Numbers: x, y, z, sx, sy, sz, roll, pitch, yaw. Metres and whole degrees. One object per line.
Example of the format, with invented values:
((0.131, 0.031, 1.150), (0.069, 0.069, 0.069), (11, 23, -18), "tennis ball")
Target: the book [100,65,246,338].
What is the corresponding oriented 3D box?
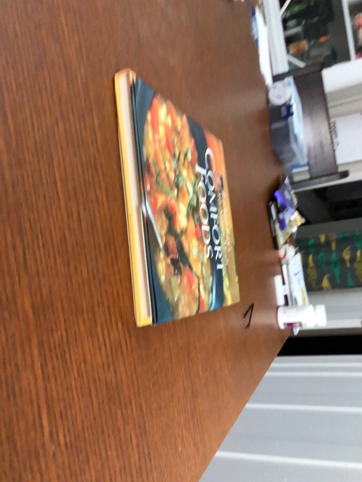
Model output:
((0.006, -0.025, 0.389), (0.211, 0.030, 0.200), (7, 76, -64), "book")
